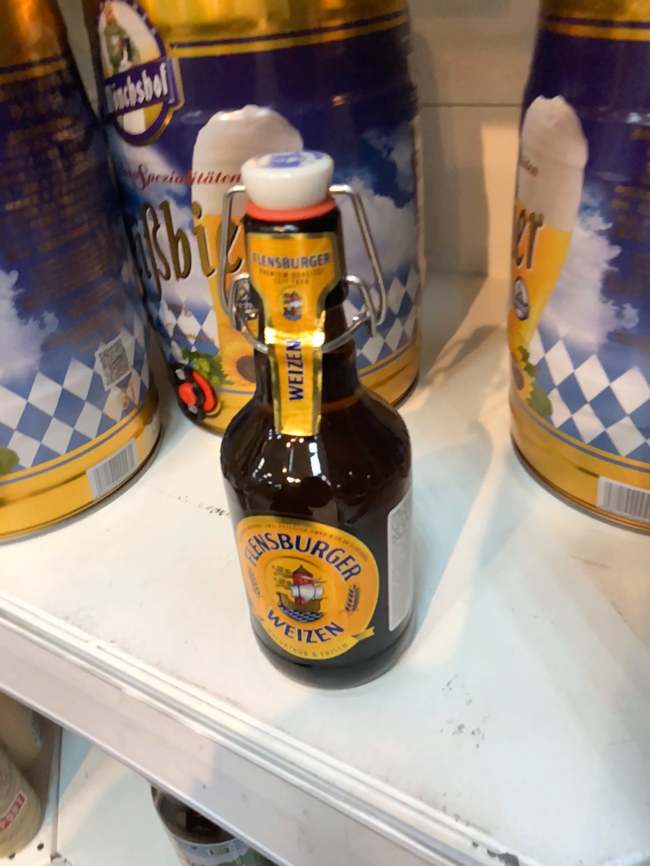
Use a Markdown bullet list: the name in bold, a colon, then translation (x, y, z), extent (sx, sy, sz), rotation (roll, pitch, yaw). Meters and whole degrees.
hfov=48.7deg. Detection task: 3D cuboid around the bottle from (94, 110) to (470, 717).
- **bottle**: translation (0.002, -0.002, 0.252), extent (0.080, 0.189, 0.080), rotation (-5, 34, 3)
